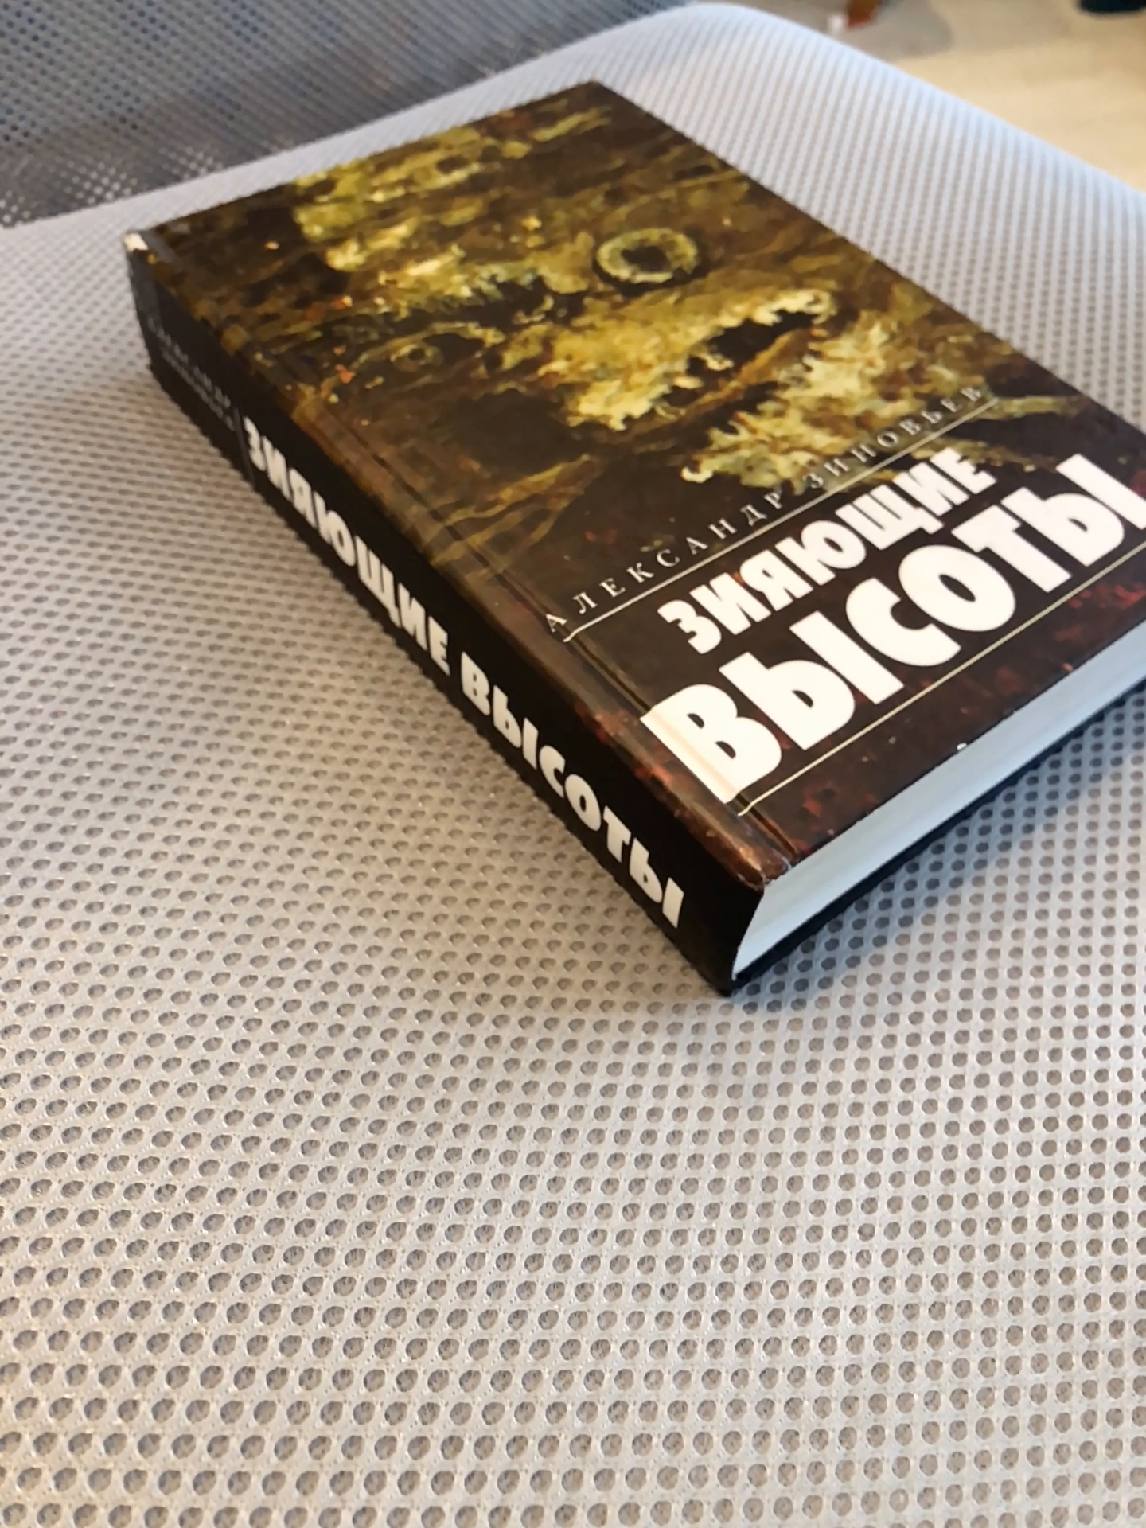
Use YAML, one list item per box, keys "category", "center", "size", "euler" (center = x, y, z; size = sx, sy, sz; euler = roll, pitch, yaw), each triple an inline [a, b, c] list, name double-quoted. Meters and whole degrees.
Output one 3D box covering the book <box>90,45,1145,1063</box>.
- category: "book"
  center: [0.018, -0.061, 0.257]
  size: [0.140, 0.040, 0.190]
  euler: [-30, 66, -25]
